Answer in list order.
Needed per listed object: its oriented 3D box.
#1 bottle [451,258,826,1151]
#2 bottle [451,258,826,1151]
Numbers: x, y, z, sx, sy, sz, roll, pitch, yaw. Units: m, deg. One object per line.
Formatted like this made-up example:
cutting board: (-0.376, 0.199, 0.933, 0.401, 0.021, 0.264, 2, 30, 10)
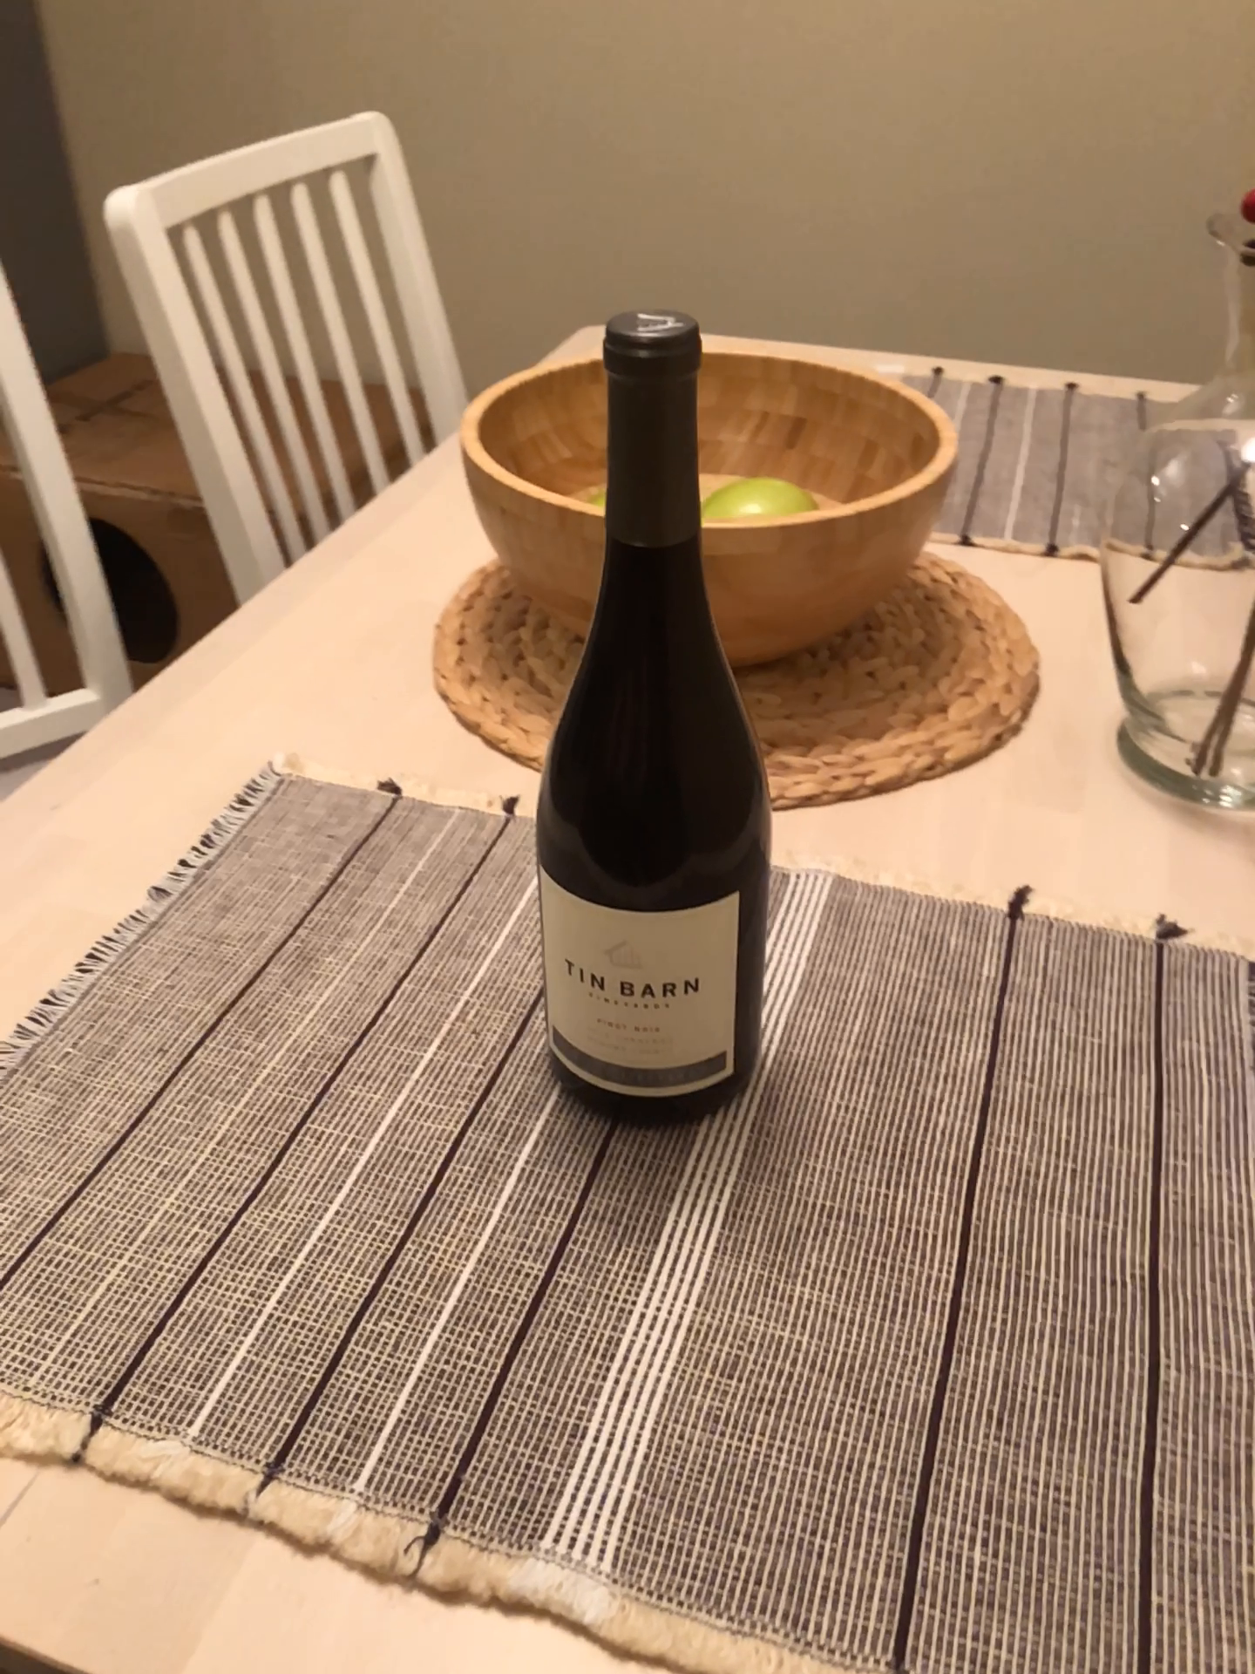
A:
bottle: (0.007, -0.035, 0.481, 0.090, 0.288, 0.101, 7, 36, 9)
bottle: (0.007, -0.035, 0.481, 0.090, 0.288, 0.101, 7, 36, 9)
